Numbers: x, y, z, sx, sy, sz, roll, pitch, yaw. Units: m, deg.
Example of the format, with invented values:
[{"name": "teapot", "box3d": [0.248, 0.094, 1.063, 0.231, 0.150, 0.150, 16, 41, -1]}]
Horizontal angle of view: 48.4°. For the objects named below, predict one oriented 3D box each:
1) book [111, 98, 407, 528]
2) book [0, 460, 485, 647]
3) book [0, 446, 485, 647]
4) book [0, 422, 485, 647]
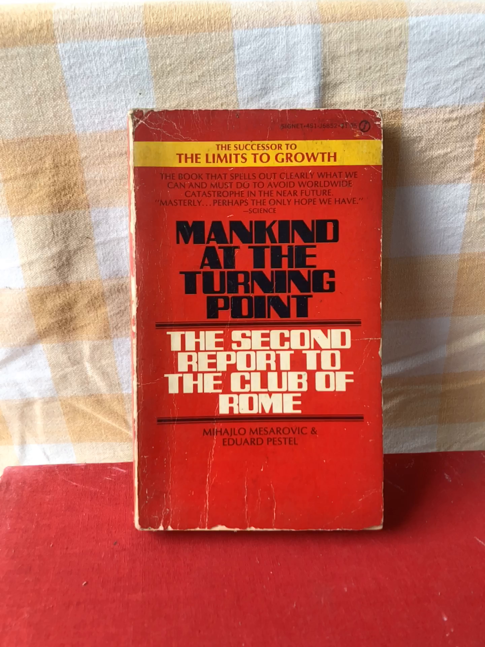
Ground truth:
[{"name": "book", "box3d": [0.007, -0.002, 0.233, 0.110, 0.170, 0.040, -1, 9, -1]}, {"name": "book", "box3d": [0.002, 0.155, 0.242, 0.240, 0.040, 0.191, -4, 34, 2]}, {"name": "book", "box3d": [-0.001, 0.151, 0.255, 0.270, 0.040, 0.191, -4, 34, 2]}, {"name": "book", "box3d": [0.003, 0.138, 0.257, 0.280, 0.040, 0.191, -4, 34, 2]}]
